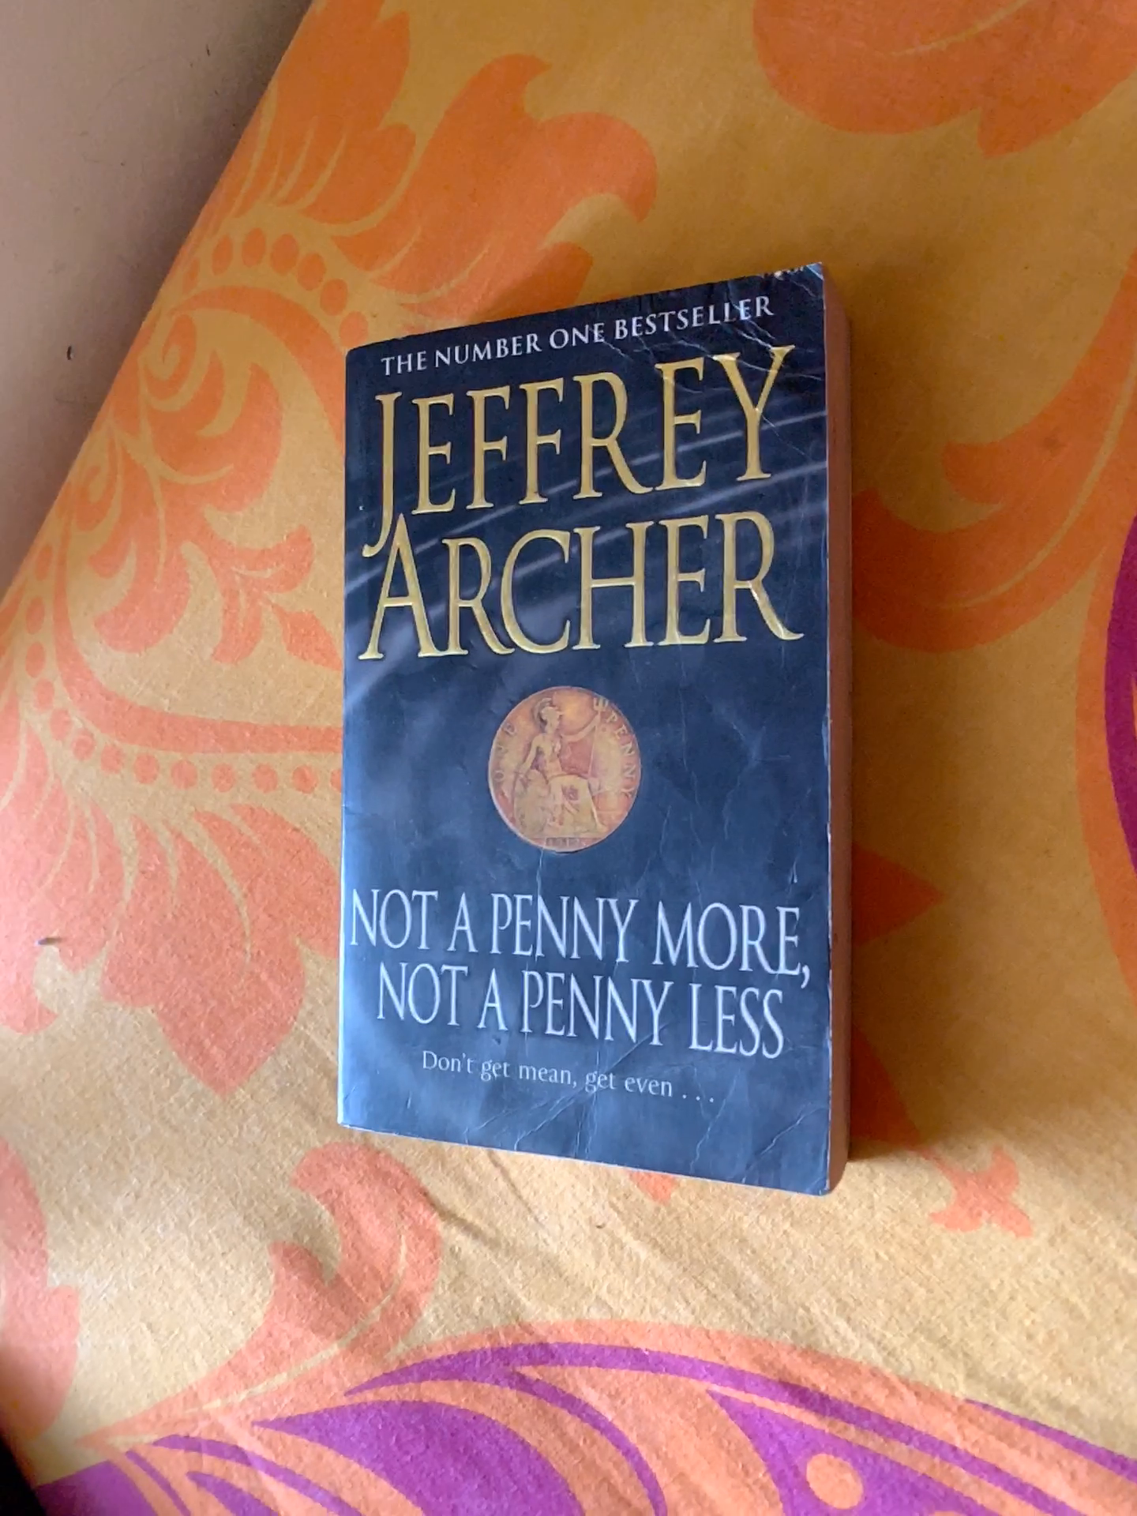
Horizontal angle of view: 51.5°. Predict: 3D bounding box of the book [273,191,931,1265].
[{"bbox_3d":[0.006,-0.006,0.210,0.110,0.030,0.160,-1,84,24],"label":"book"}]
